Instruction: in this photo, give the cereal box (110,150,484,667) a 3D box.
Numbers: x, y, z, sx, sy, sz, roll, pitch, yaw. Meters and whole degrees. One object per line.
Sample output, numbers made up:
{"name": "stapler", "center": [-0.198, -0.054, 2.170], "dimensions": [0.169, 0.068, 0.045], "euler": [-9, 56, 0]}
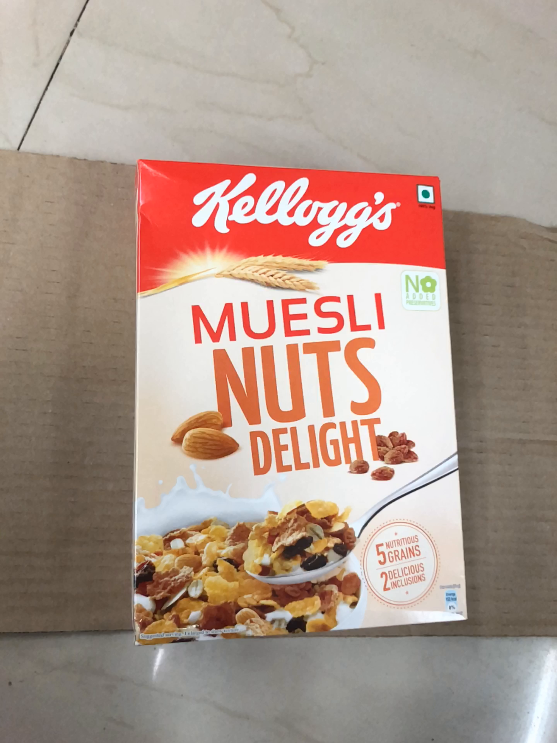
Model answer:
{"name": "cereal box", "center": [0.004, 0.016, 0.356], "dimensions": [0.190, 0.080, 0.250], "euler": [-1, 85, -11]}
